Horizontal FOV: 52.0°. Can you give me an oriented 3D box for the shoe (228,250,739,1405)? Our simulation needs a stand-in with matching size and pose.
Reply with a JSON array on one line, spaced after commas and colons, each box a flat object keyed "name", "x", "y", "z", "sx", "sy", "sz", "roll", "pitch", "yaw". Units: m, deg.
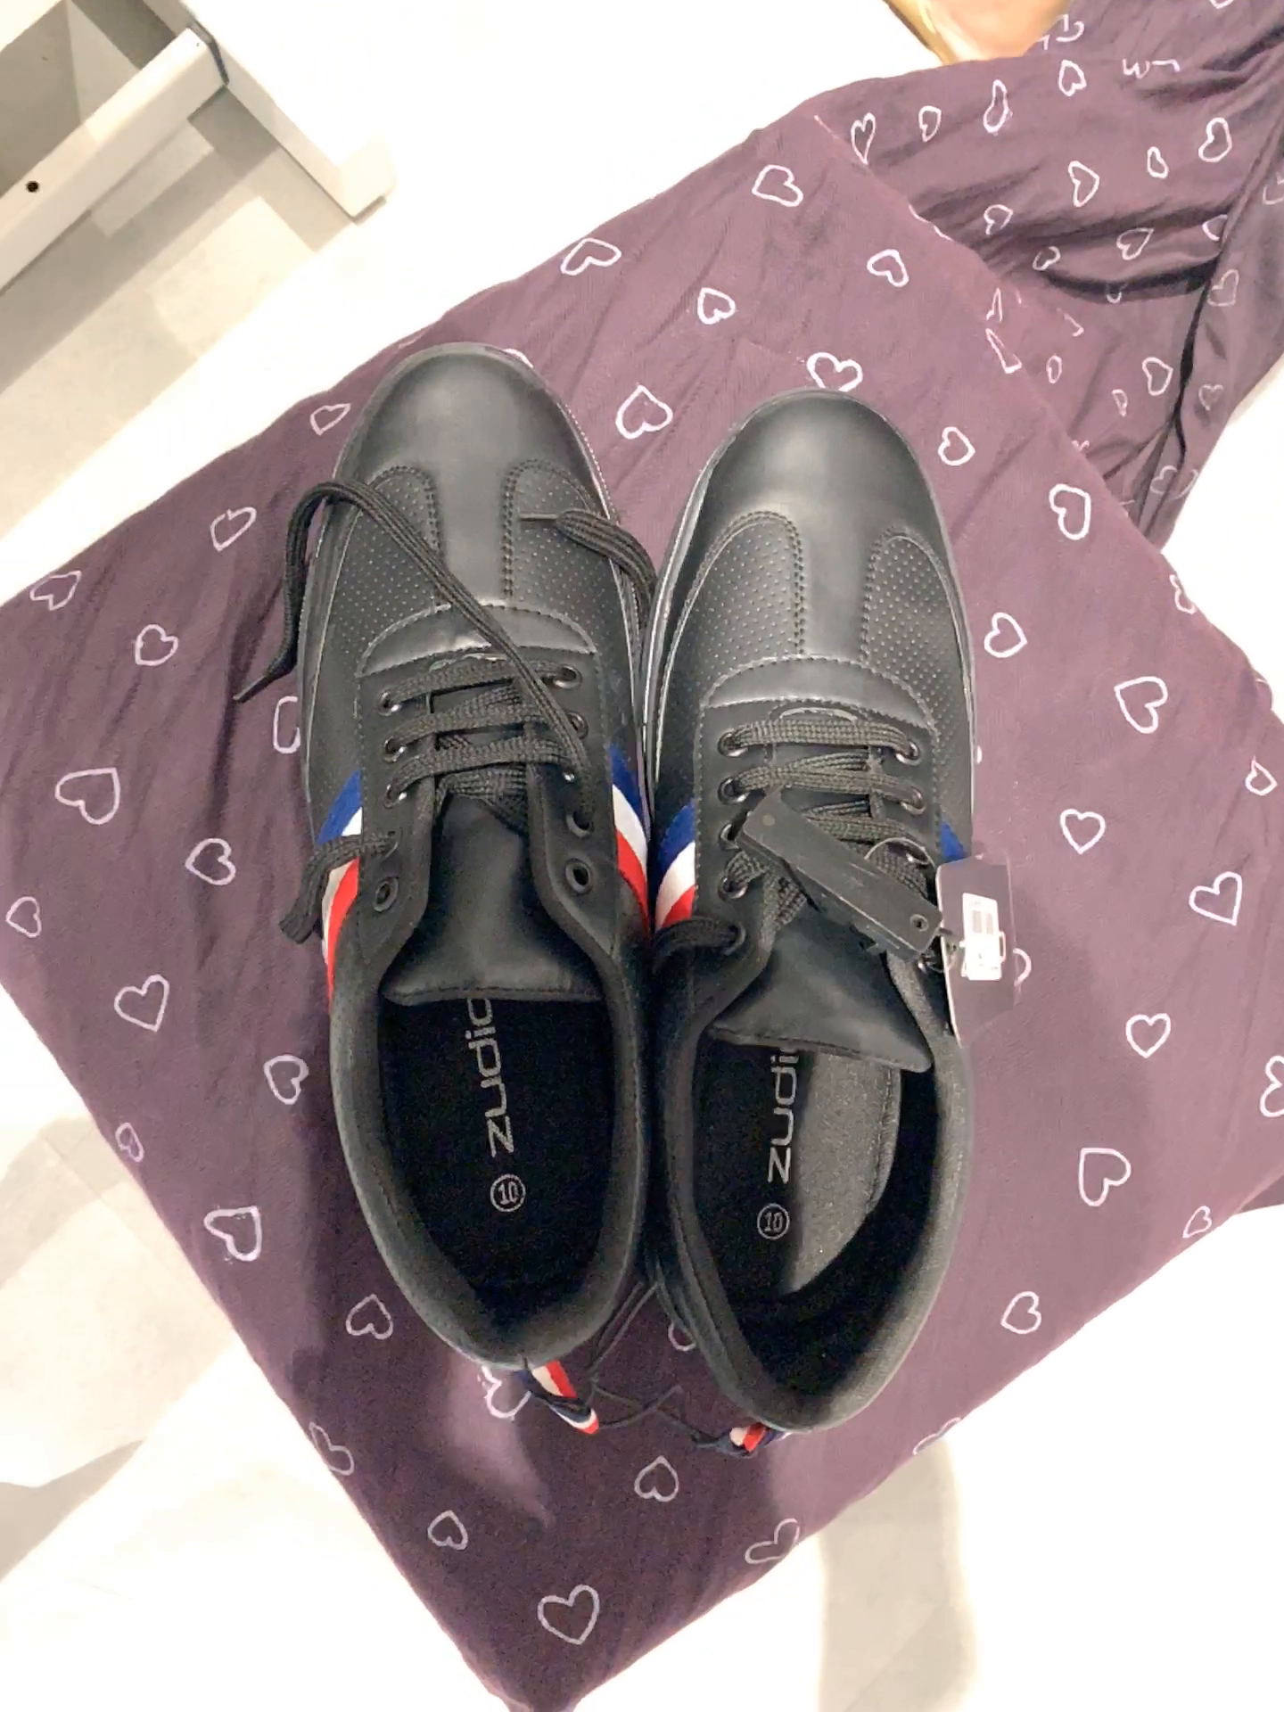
[{"name": "shoe", "x": -0.048, "y": -0.012, "z": 0.403, "sx": 0.120, "sy": 0.090, "sz": 0.310, "roll": -4, "pitch": 84, "yaw": -4}]

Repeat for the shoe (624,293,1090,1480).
[{"name": "shoe", "x": 0.054, "y": 0.006, "z": 0.374, "sx": 0.110, "sy": 0.080, "sz": 0.300, "roll": 1, "pitch": 83, "yaw": -3}]
